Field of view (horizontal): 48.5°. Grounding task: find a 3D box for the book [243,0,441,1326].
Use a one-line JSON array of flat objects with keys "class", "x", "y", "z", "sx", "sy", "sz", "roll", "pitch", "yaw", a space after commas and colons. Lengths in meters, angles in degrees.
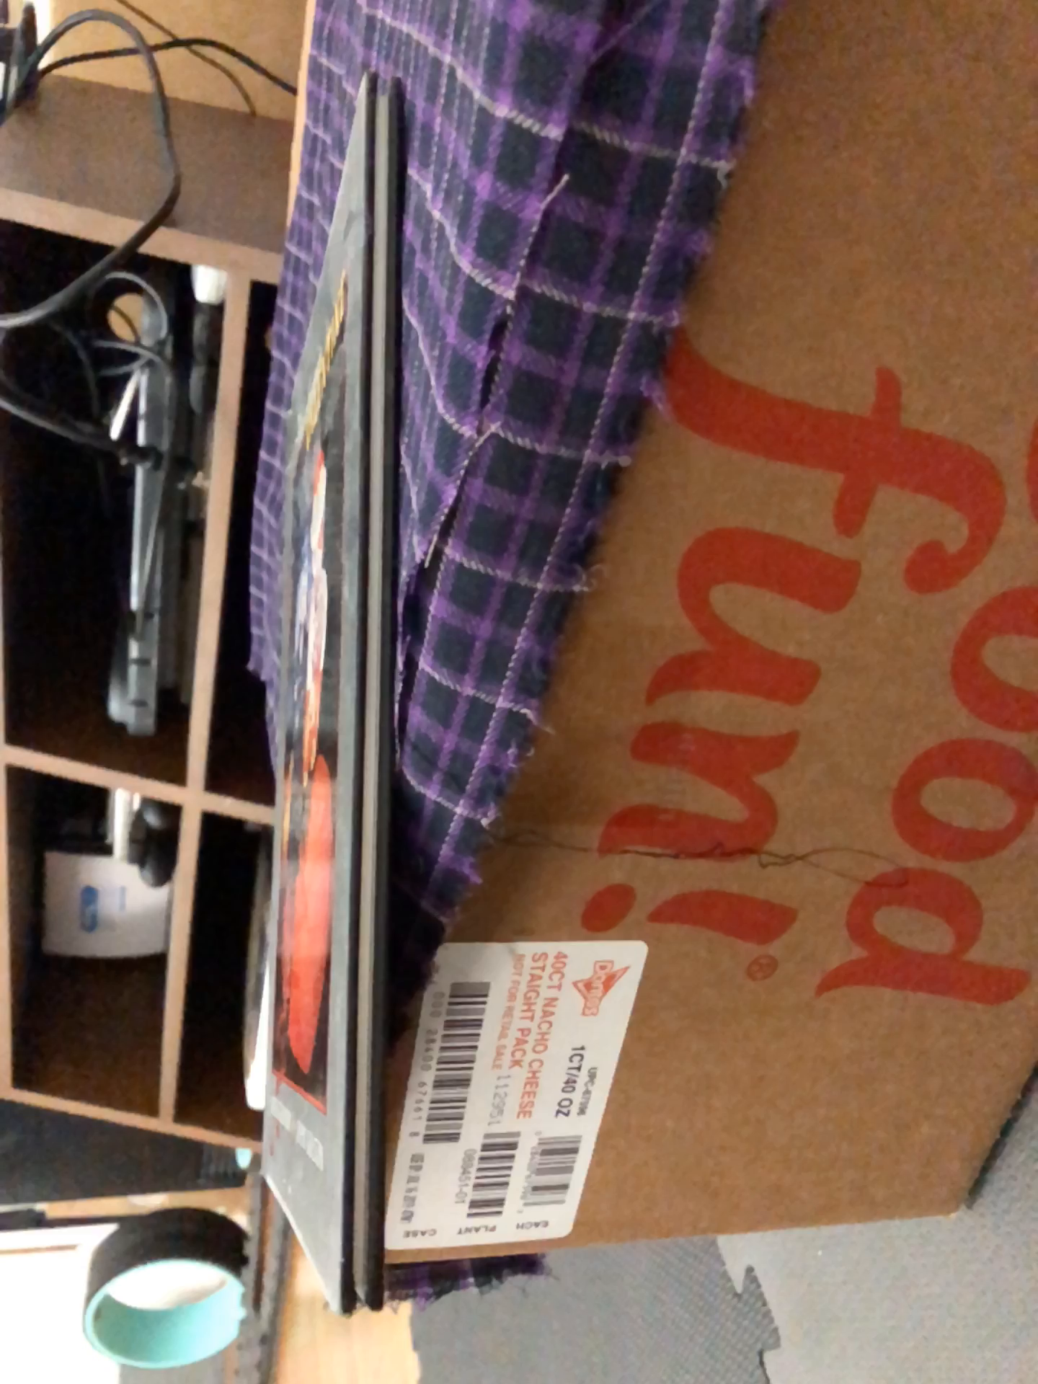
[{"class": "book", "x": -0.052, "y": -0.007, "z": 0.313, "sx": 0.180, "sy": 0.020, "sz": 0.280, "roll": 139, "pitch": 133, "yaw": -67}]
